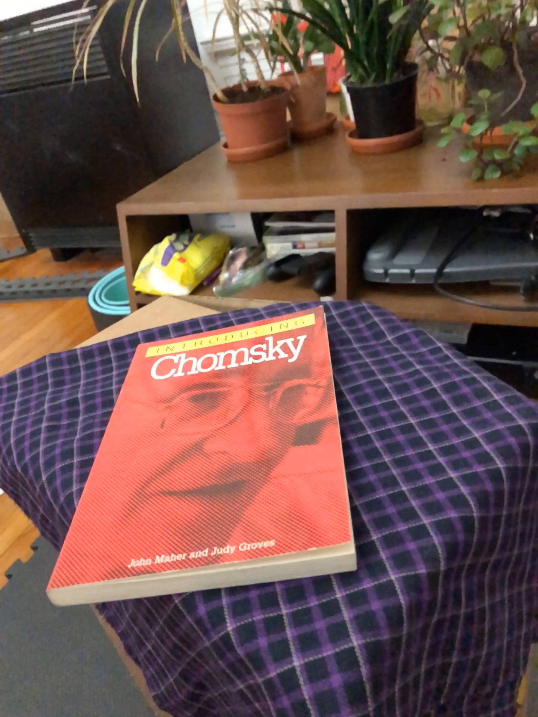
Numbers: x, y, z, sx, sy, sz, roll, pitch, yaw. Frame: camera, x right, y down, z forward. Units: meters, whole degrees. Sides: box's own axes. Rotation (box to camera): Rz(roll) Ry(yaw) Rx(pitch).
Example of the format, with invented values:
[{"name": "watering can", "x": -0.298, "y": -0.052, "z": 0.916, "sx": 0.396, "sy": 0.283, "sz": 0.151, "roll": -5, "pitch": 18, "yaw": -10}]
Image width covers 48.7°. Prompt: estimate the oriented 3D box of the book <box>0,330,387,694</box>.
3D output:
[{"name": "book", "x": -0.039, "y": 0.066, "z": 0.359, "sx": 0.180, "sy": 0.020, "sz": 0.241, "roll": -9, "pitch": 32, "yaw": 6}]
